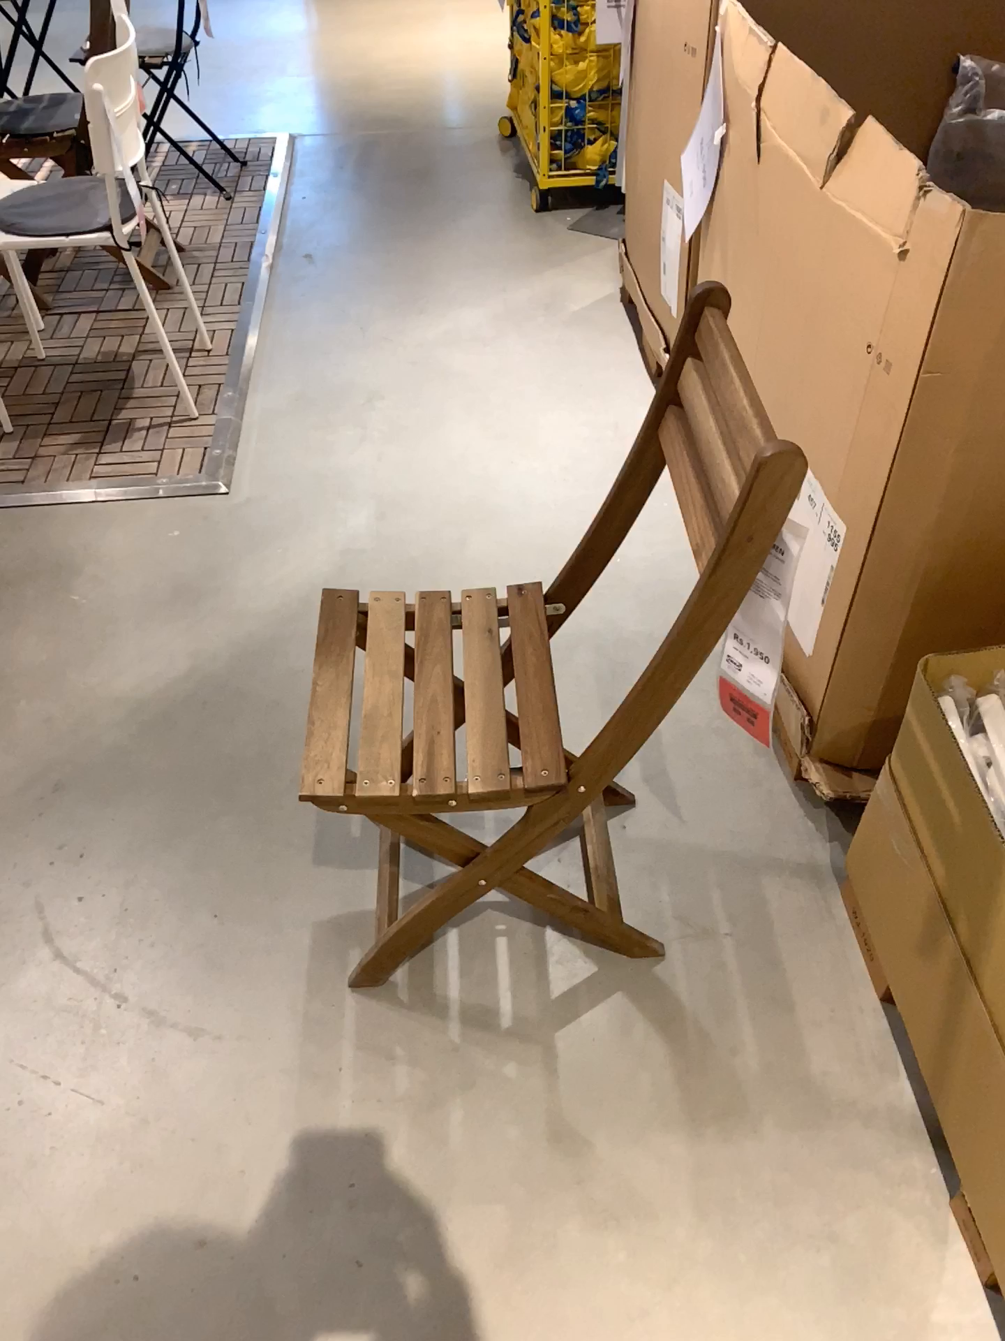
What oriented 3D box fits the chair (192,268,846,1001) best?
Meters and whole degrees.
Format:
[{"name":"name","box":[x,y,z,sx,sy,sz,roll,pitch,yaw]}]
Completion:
[{"name":"chair","box":[0.010,-0.001,1.205,0.510,0.767,0.402,-3,44,-2]}]
